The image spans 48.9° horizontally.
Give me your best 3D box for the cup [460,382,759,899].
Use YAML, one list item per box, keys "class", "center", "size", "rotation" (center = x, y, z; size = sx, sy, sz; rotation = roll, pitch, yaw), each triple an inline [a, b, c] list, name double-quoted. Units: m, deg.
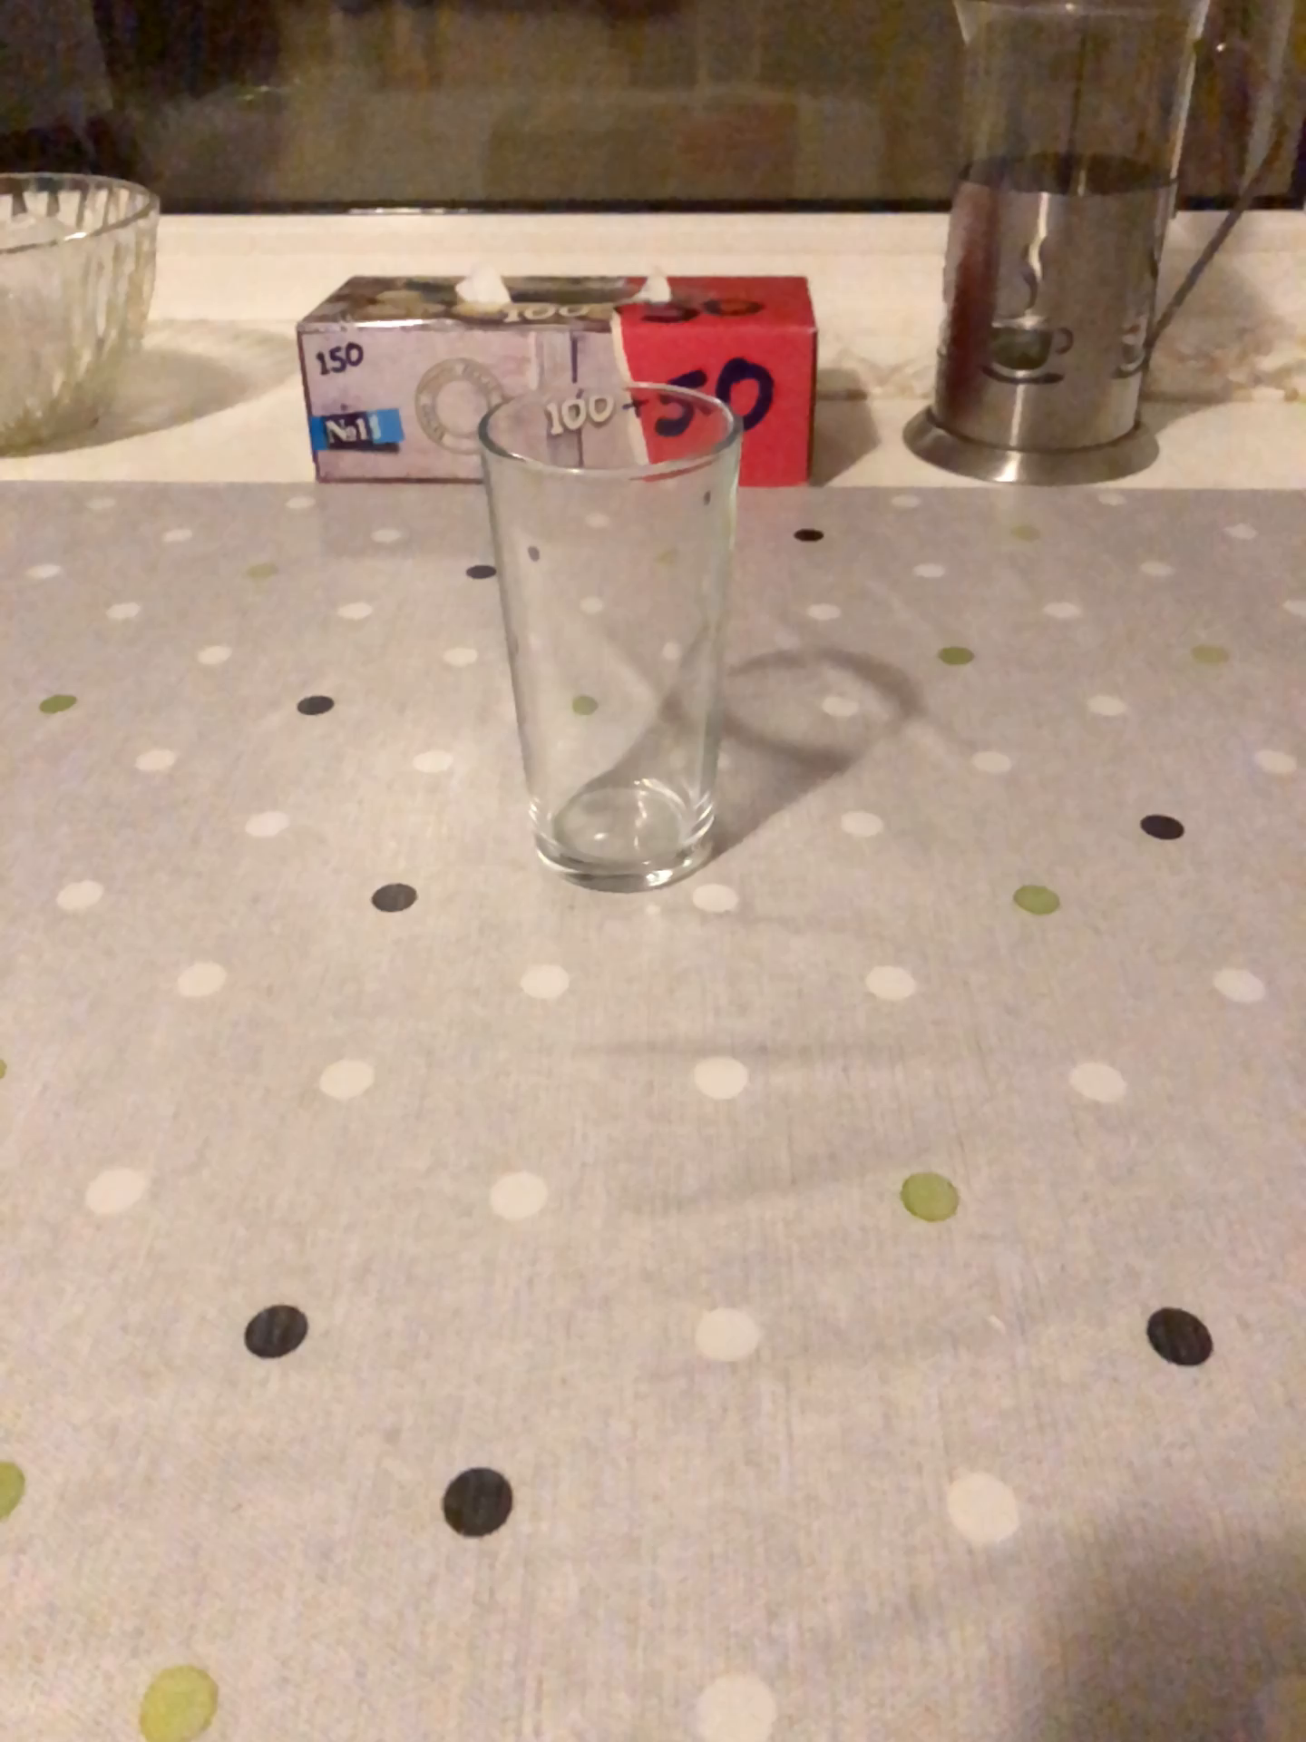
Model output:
- class: "cup"
  center: [-0.007, -0.061, 0.385]
  size: [0.068, 0.117, 0.070]
  rotation: [-1, 35, 1]
